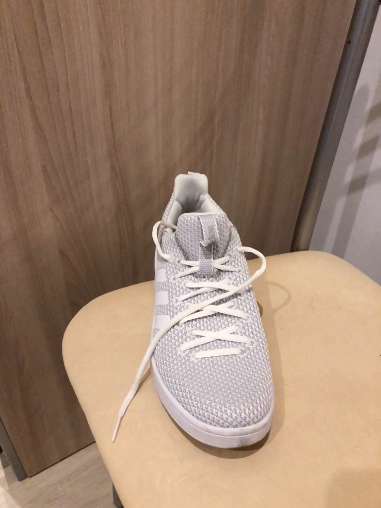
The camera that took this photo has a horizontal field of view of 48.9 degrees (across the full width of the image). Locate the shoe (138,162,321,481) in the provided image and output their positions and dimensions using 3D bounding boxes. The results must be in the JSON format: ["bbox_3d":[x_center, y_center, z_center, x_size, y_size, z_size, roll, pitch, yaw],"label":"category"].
[{"bbox_3d":[0.010,0.037,0.424,0.110,0.129,0.302,-3,39,-7],"label":"shoe"}]
